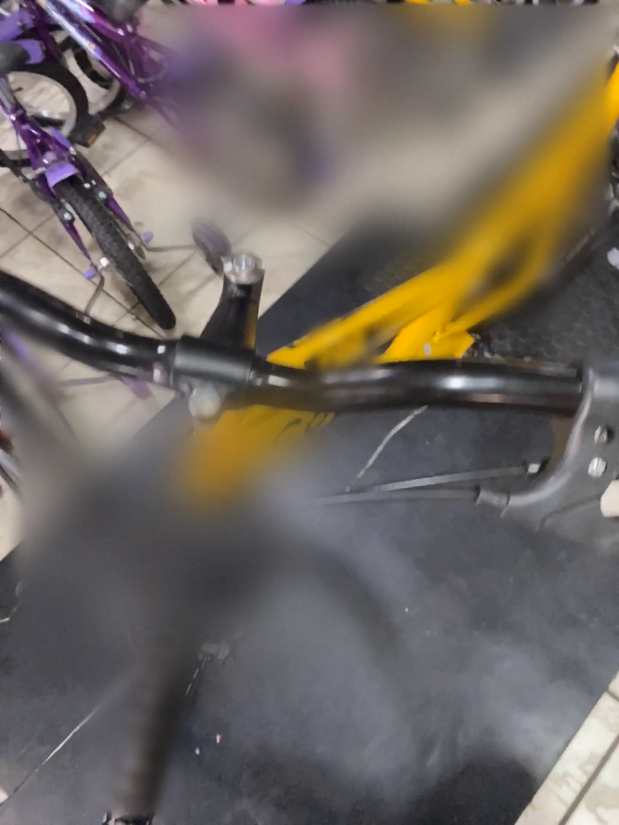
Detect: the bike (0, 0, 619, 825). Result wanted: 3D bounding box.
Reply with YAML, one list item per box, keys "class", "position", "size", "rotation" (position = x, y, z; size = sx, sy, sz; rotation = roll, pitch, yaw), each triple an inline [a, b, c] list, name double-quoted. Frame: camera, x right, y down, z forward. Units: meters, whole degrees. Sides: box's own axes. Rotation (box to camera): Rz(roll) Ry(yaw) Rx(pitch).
- class: "bike"
  position: [0.187, -0.149, 0.683]
  size: [0.476, 0.989, 1.523]
  rotation: [31, 69, 24]
